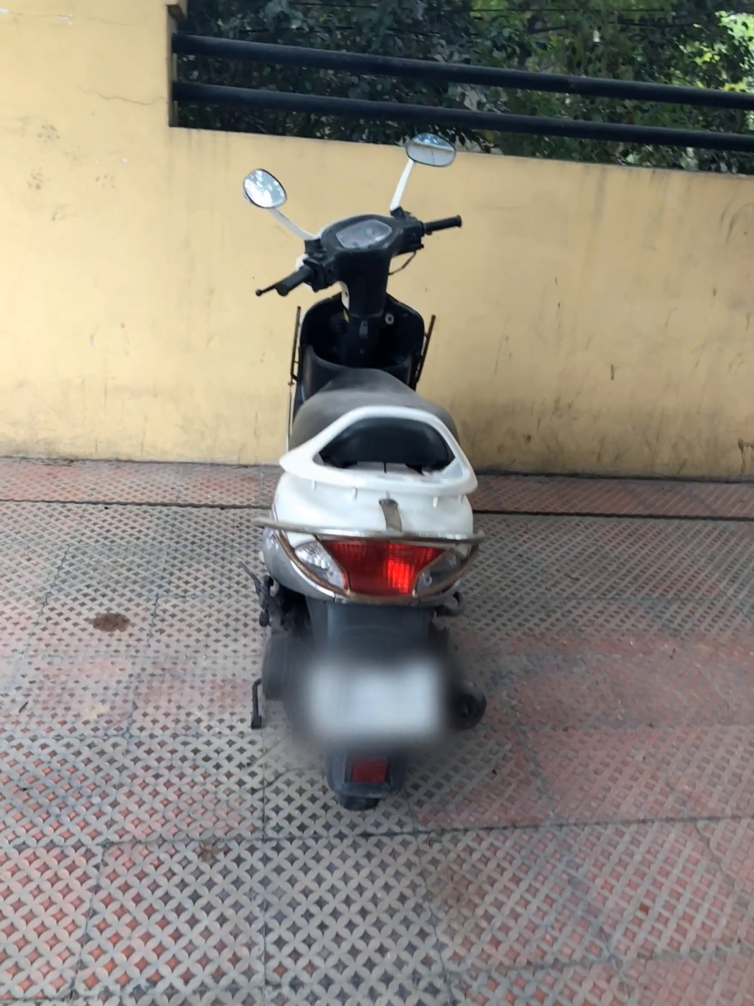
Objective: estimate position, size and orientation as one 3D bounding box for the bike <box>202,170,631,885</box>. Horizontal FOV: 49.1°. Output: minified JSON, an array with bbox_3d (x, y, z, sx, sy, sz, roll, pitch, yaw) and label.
[{"bbox_3d":[-0.060,-0.116,2.005,0.599,1.081,1.481,2,27,-8],"label":"bike"}]
